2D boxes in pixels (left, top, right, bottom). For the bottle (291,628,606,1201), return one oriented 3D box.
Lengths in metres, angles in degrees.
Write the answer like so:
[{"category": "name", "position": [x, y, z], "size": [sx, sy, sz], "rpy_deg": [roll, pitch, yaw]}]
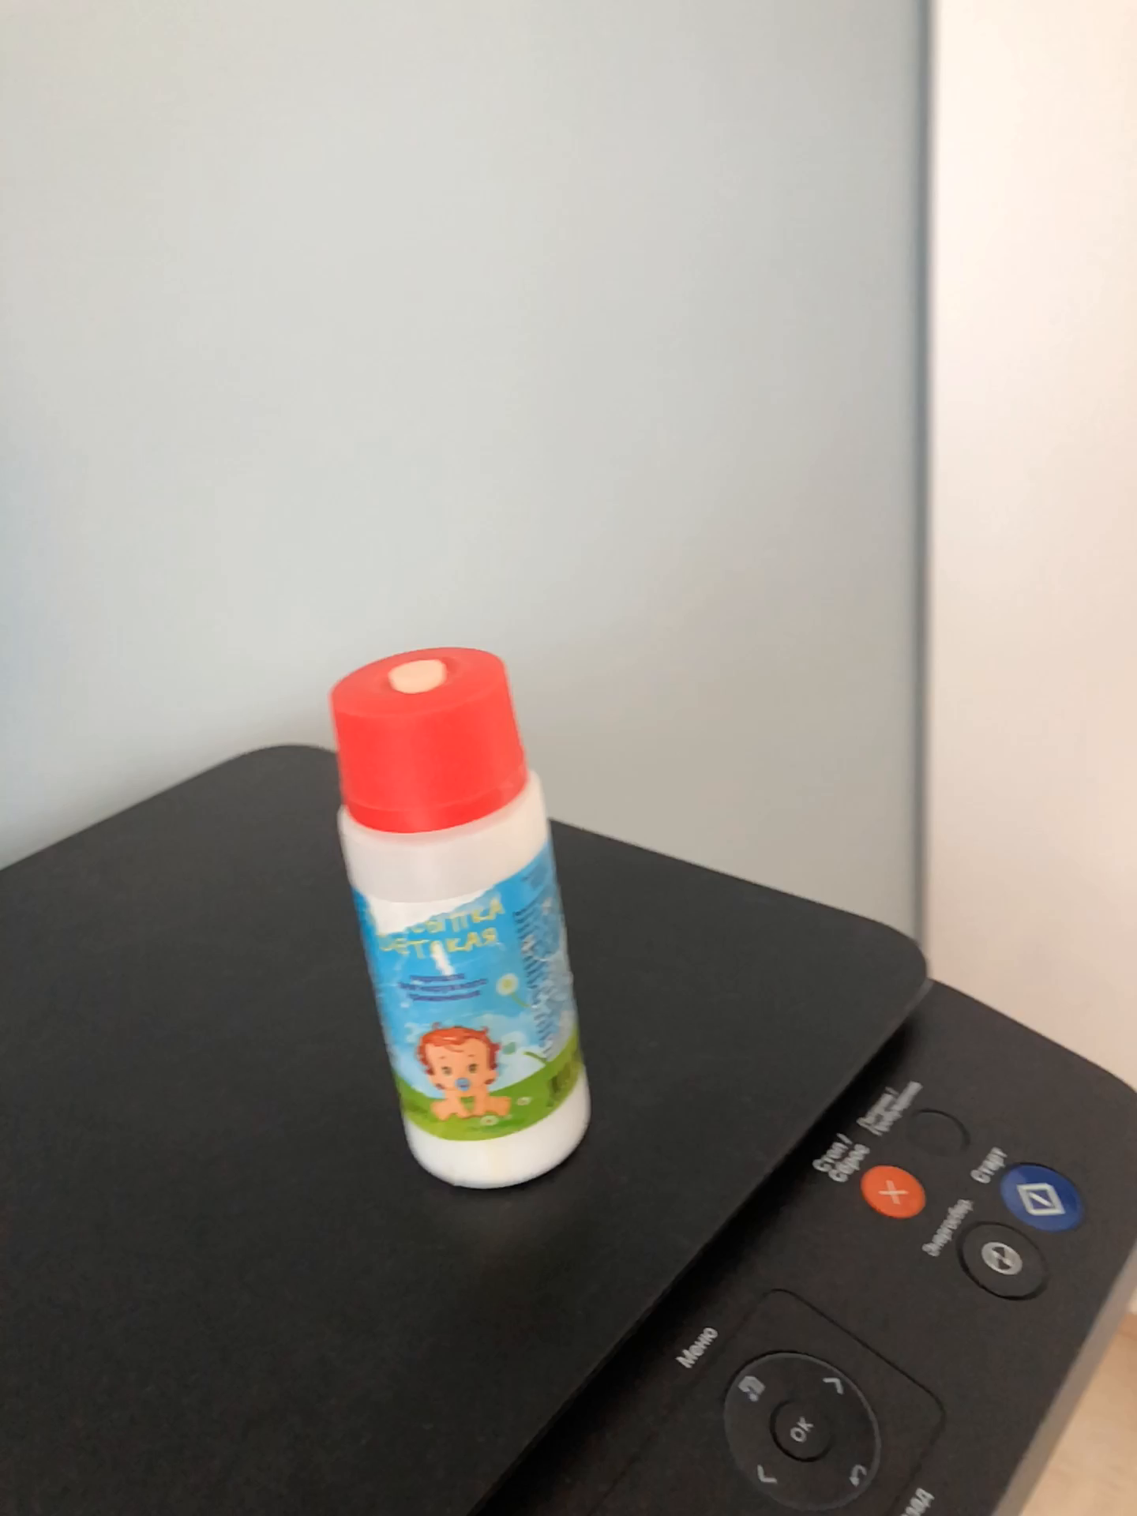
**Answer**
[{"category": "bottle", "position": [-0.021, 0.034, 0.267], "size": [0.042, 0.112, 0.044], "rpy_deg": [-5, 25, 2]}]
